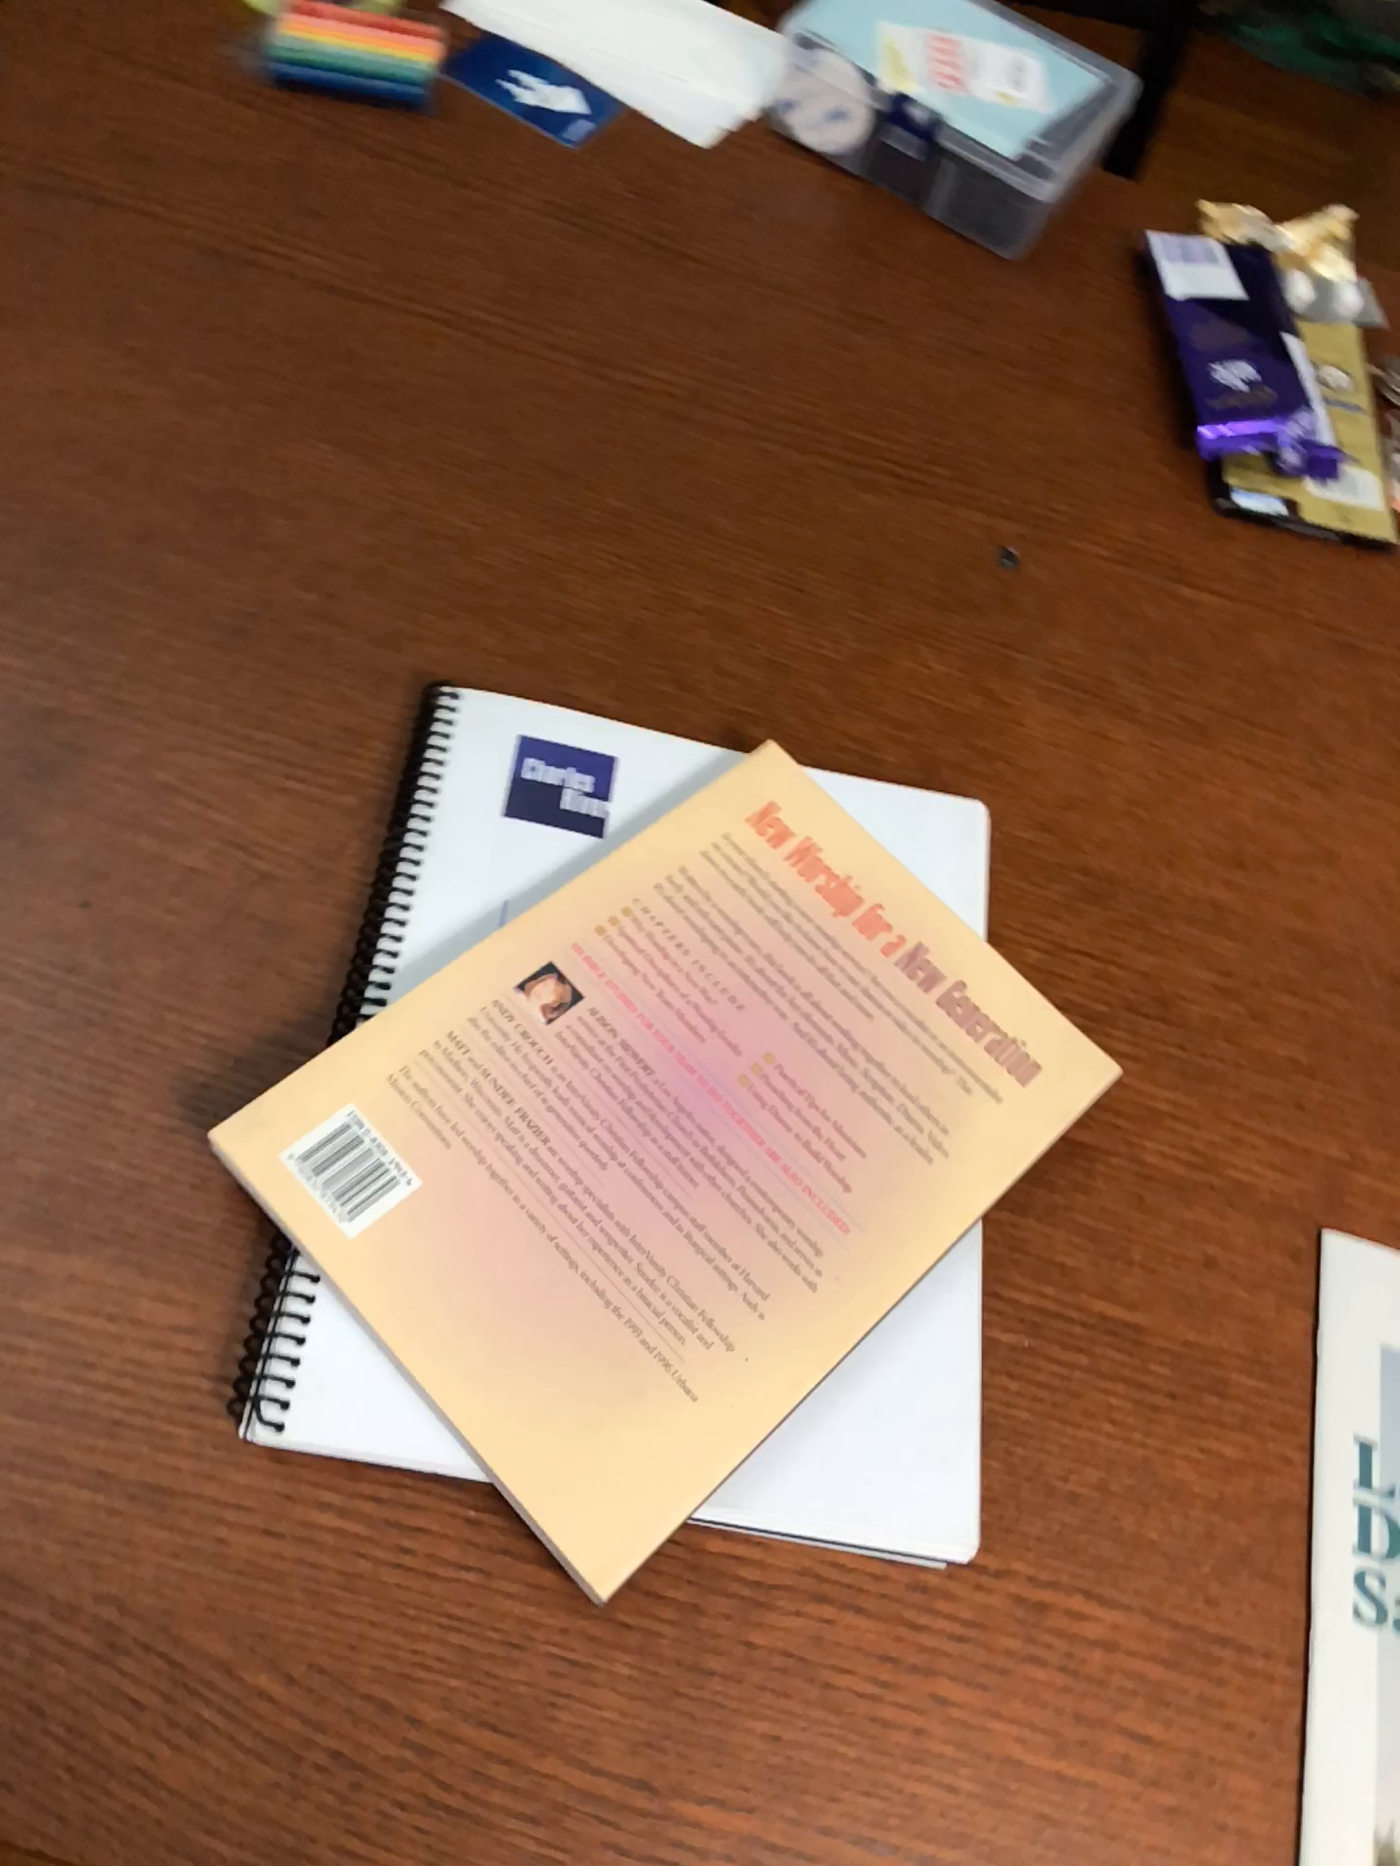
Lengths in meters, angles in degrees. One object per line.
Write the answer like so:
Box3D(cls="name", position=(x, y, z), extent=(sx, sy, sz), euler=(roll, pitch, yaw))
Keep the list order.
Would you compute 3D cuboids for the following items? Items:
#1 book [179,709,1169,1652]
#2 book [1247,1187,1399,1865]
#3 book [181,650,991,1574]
Box3D(cls="book", position=(0.002, 0.056, 0.497), extent=(0.261, 0.020, 0.190), euler=(-38, 74, -28))
Box3D(cls="book", position=(0.269, 0.230, 0.466), extent=(0.200, 0.010, 0.271), euler=(18, 58, -2))
Box3D(cls="book", position=(-0.016, 0.044, 0.520), extent=(0.230, 0.020, 0.291), euler=(11, 58, -6))
